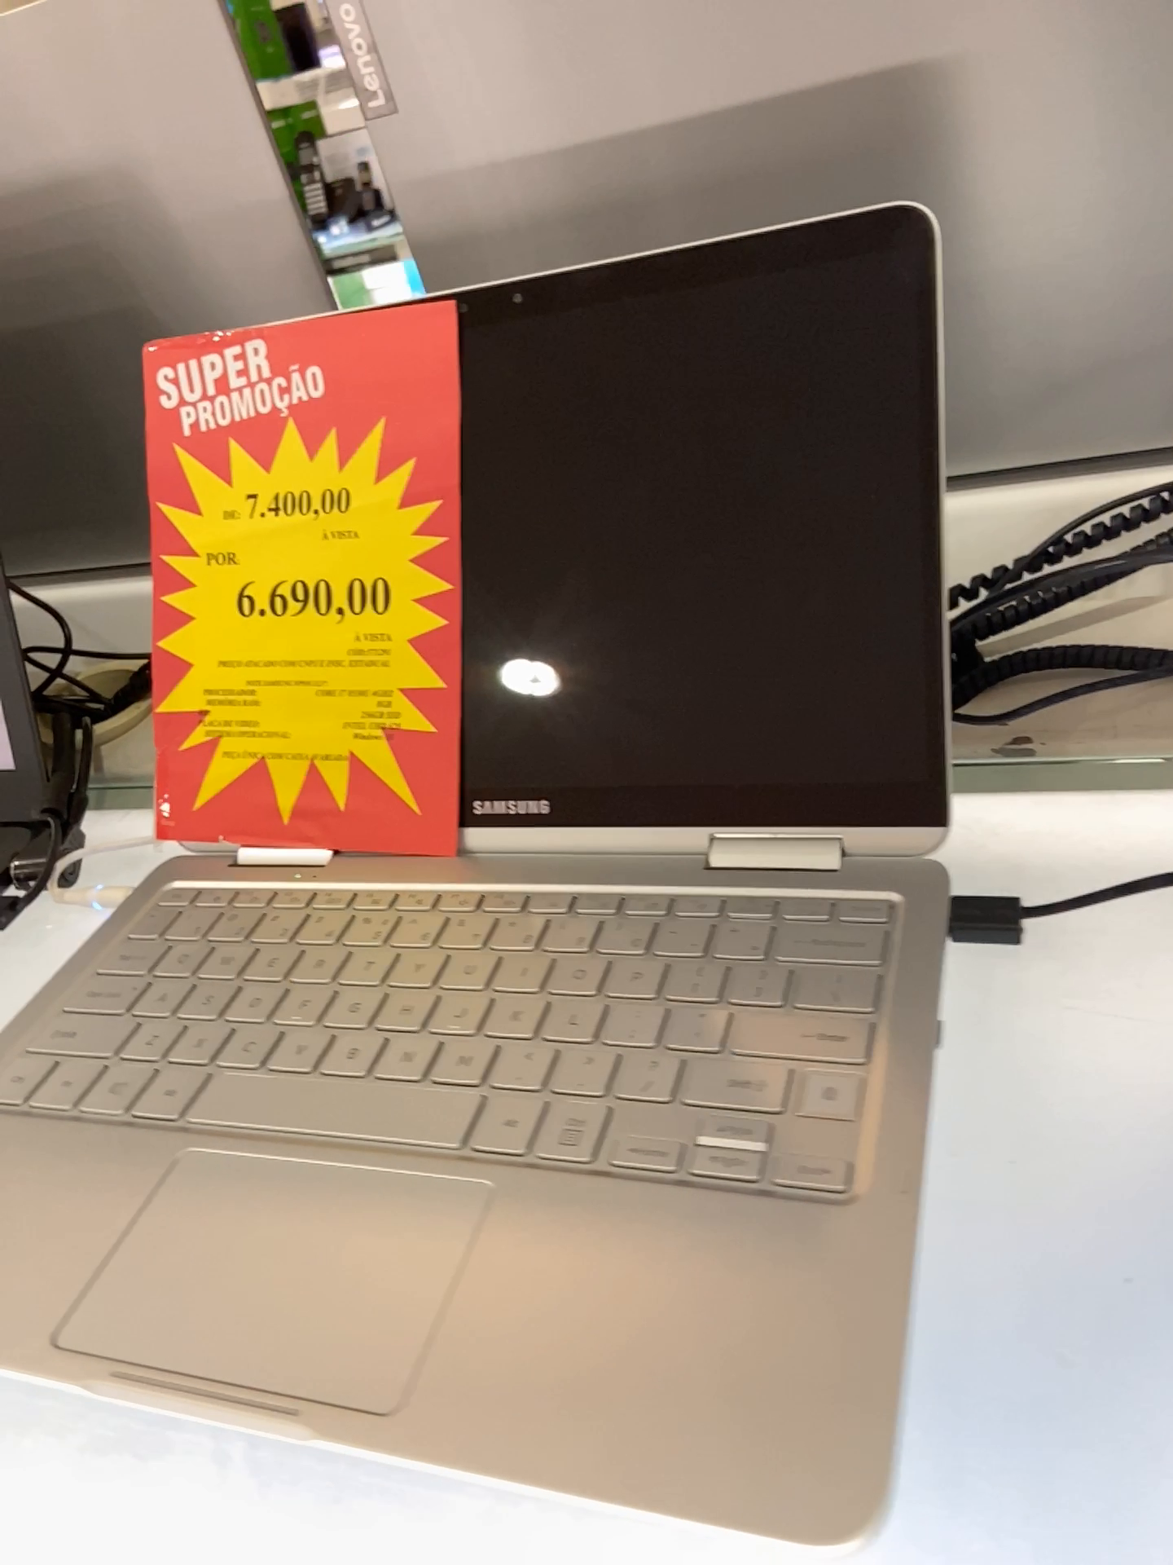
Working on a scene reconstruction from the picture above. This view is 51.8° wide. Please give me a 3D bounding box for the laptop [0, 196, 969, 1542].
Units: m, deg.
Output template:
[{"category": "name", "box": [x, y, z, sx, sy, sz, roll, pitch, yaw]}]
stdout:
[{"category": "laptop", "box": [-0.063, -0.018, 0.354, 0.305, 0.170, 0.311, -2, 33, 23]}]
